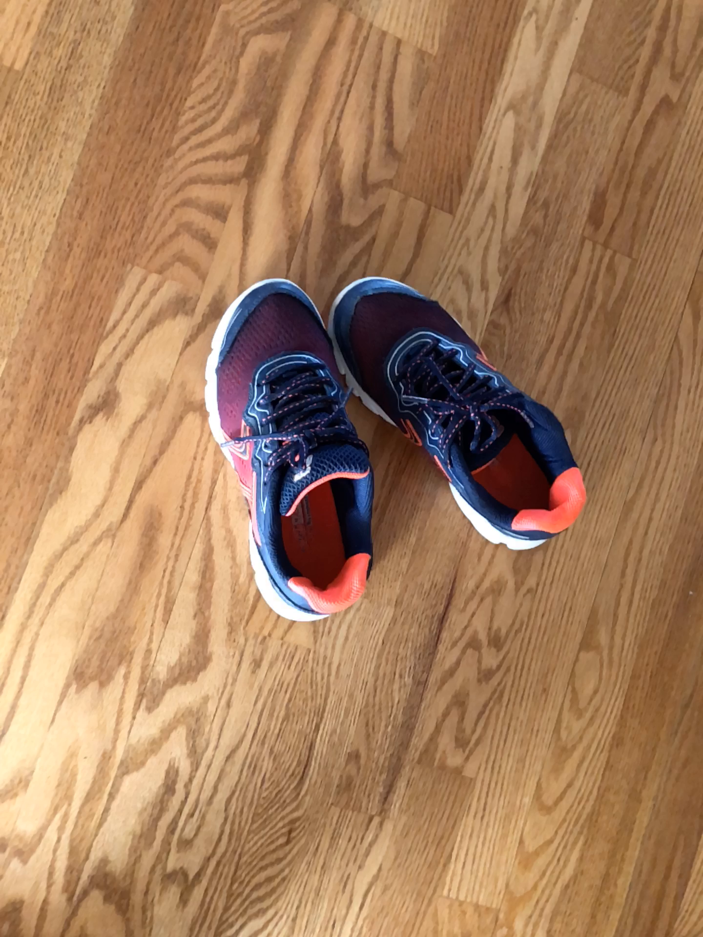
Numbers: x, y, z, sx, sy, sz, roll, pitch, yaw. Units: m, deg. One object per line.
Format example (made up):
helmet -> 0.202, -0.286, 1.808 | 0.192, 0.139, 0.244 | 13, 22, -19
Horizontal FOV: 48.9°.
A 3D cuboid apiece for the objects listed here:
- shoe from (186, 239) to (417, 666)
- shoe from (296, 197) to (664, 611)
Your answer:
shoe -> -0.042, -0.013, 0.567 | 0.108, 0.110, 0.270 | -10, 92, -13
shoe -> 0.094, -0.043, 0.599 | 0.116, 0.110, 0.277 | -37, 97, -11
